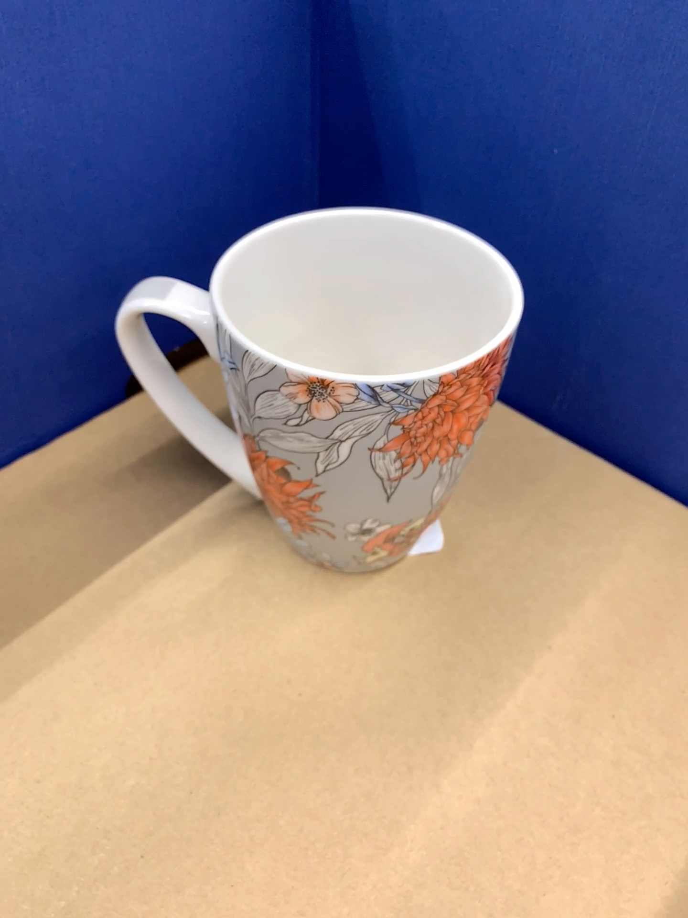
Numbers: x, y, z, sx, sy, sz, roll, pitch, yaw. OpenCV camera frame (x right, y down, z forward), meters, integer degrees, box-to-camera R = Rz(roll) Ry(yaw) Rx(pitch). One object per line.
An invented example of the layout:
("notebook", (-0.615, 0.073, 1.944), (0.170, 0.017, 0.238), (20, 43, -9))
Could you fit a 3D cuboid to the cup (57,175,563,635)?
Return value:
("cup", (-0.004, -0.022, 0.233), (0.117, 0.085, 0.092), (15, 44, 13))
